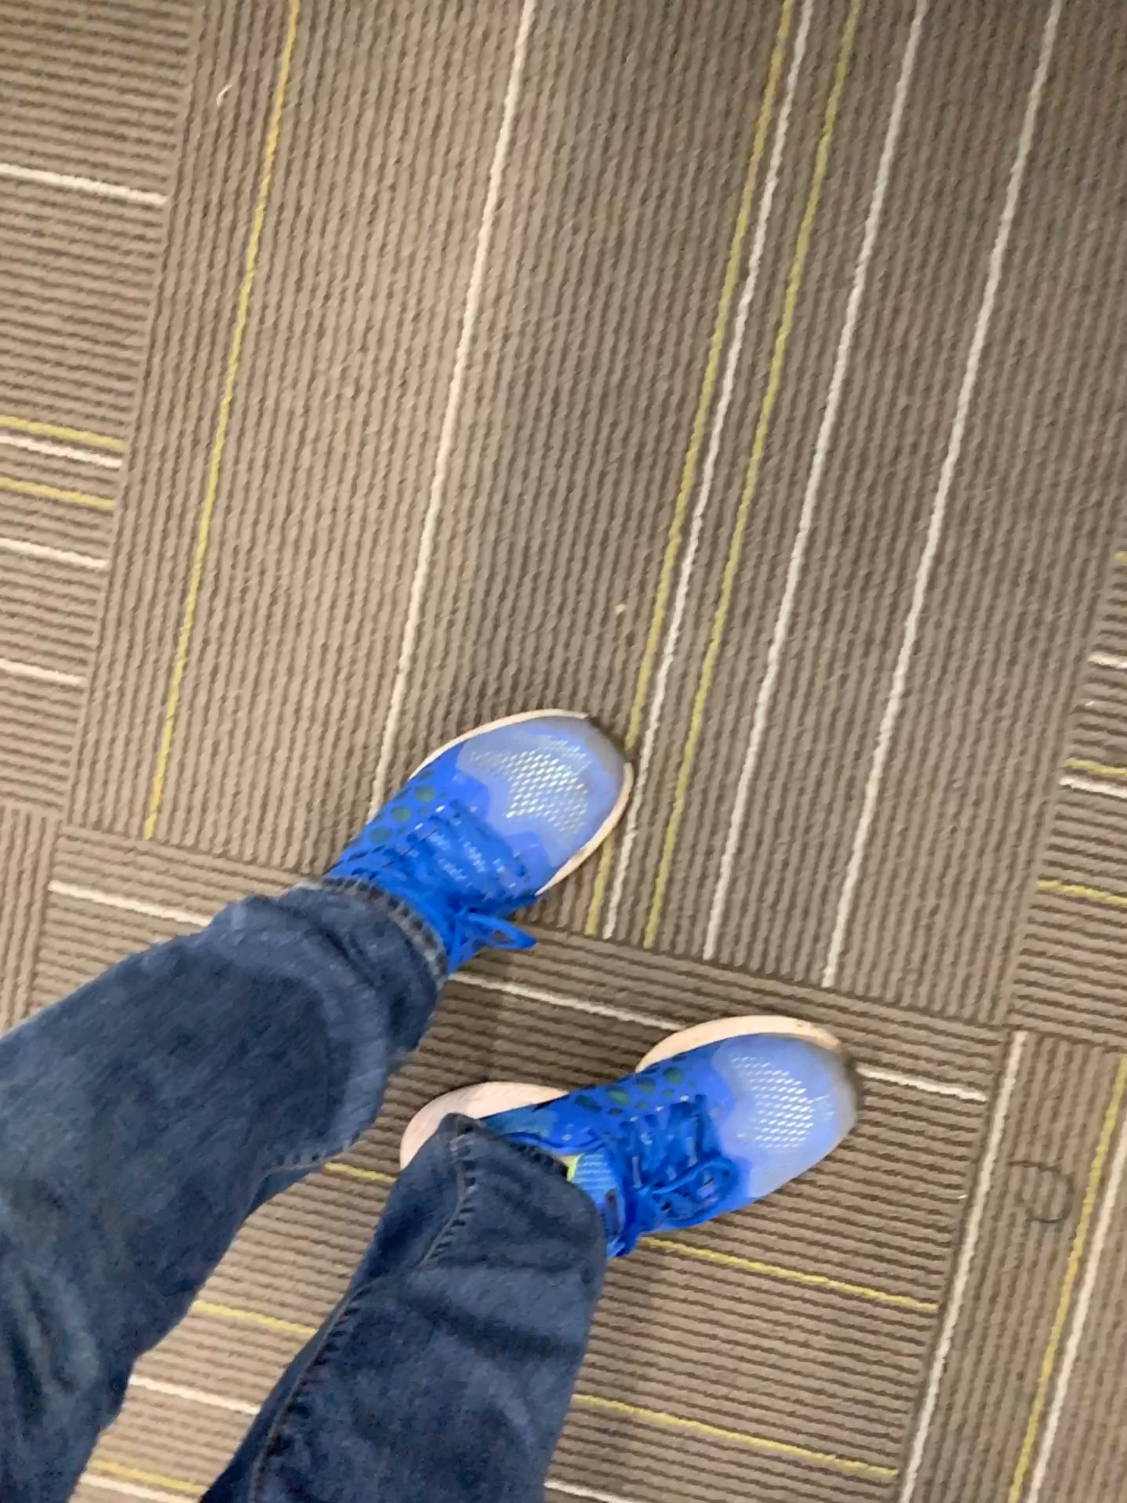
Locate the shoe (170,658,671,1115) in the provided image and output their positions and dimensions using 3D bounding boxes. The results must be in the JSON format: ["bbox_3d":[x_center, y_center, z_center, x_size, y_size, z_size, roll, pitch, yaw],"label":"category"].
[{"bbox_3d":[-0.088,0.083,0.739,0.298,0.077,0.125,-39,90,6],"label":"shoe"}]

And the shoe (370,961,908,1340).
[{"bbox_3d":[0.046,0.252,0.735,0.299,0.077,0.128,-20,92,6],"label":"shoe"}]
